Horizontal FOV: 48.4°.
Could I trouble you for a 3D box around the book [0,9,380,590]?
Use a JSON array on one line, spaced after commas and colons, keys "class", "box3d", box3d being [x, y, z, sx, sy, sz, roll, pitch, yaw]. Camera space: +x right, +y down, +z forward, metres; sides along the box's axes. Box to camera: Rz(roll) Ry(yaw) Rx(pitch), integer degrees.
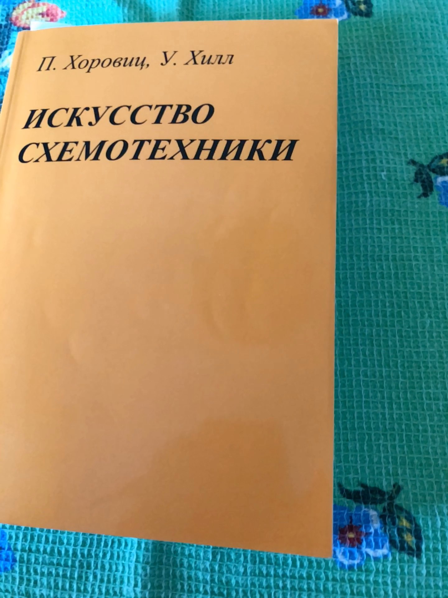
[{"class": "book", "box3d": [-0.025, -0.021, 0.244, 0.180, 0.050, 0.261, 2, 69, 8]}]
